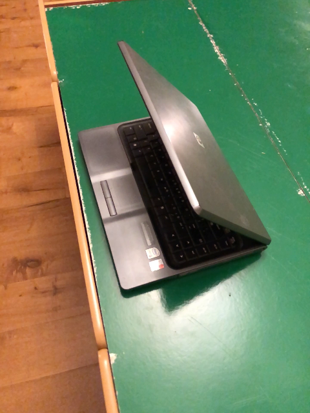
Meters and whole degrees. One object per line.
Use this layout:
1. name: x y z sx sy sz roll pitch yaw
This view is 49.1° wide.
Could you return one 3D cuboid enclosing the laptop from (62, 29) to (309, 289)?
1. laptop: 0.017 -0.083 0.518 0.227 0.171 0.317 -15 60 -11
